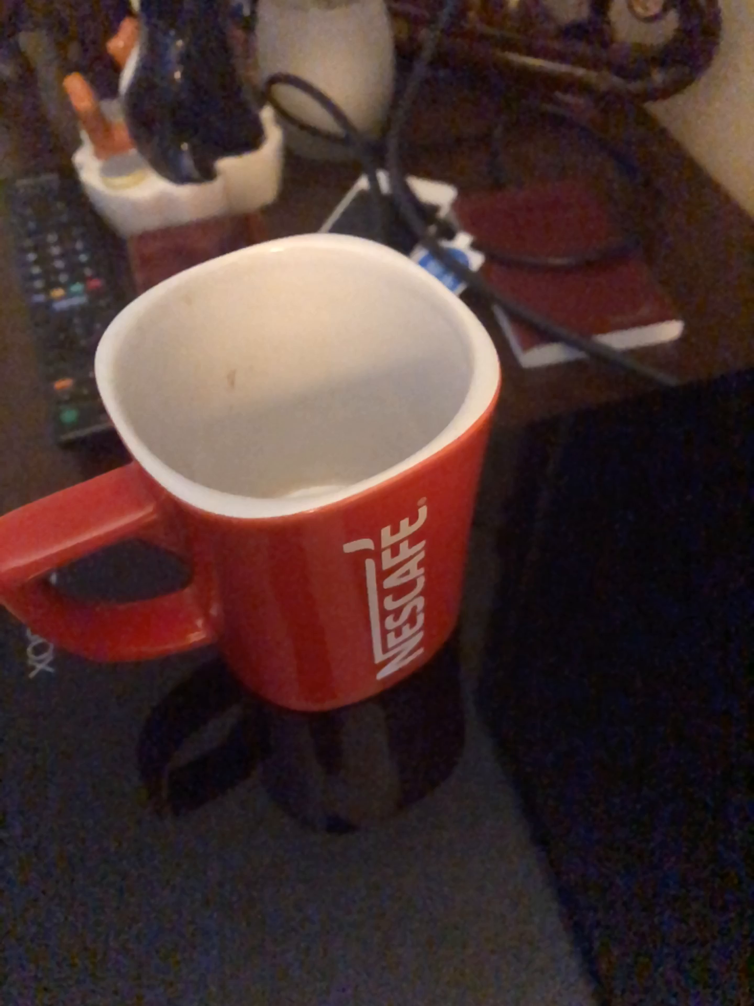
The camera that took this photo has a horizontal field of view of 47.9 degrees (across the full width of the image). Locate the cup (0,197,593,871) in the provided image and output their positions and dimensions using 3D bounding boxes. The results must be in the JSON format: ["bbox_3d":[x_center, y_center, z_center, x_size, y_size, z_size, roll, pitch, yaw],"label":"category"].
[{"bbox_3d":[-0.027,0.006,0.196,0.110,0.089,0.080,-26,56,-17],"label":"cup"}]
